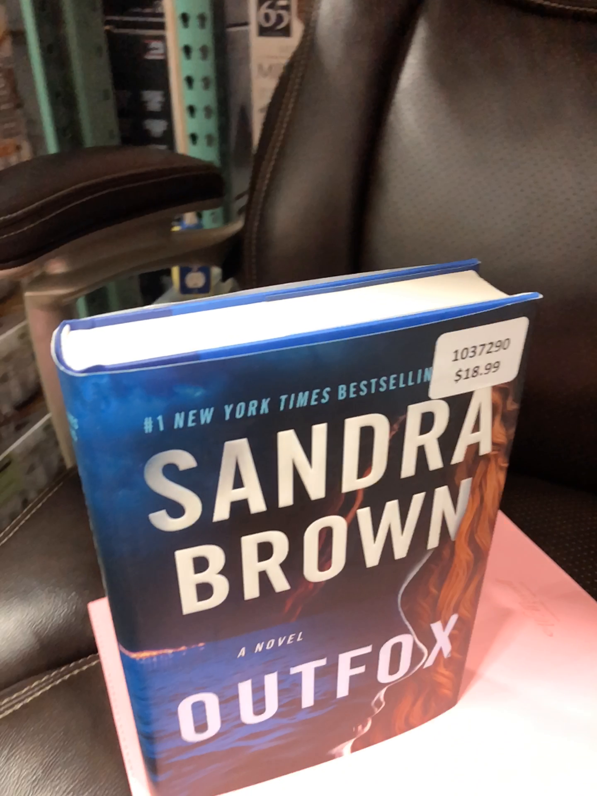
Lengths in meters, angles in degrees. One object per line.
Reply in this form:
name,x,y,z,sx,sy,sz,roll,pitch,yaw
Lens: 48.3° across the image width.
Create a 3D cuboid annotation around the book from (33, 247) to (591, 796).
book,0.005,0.066,0.270,0.167,0.228,0.048,-11,35,-17
